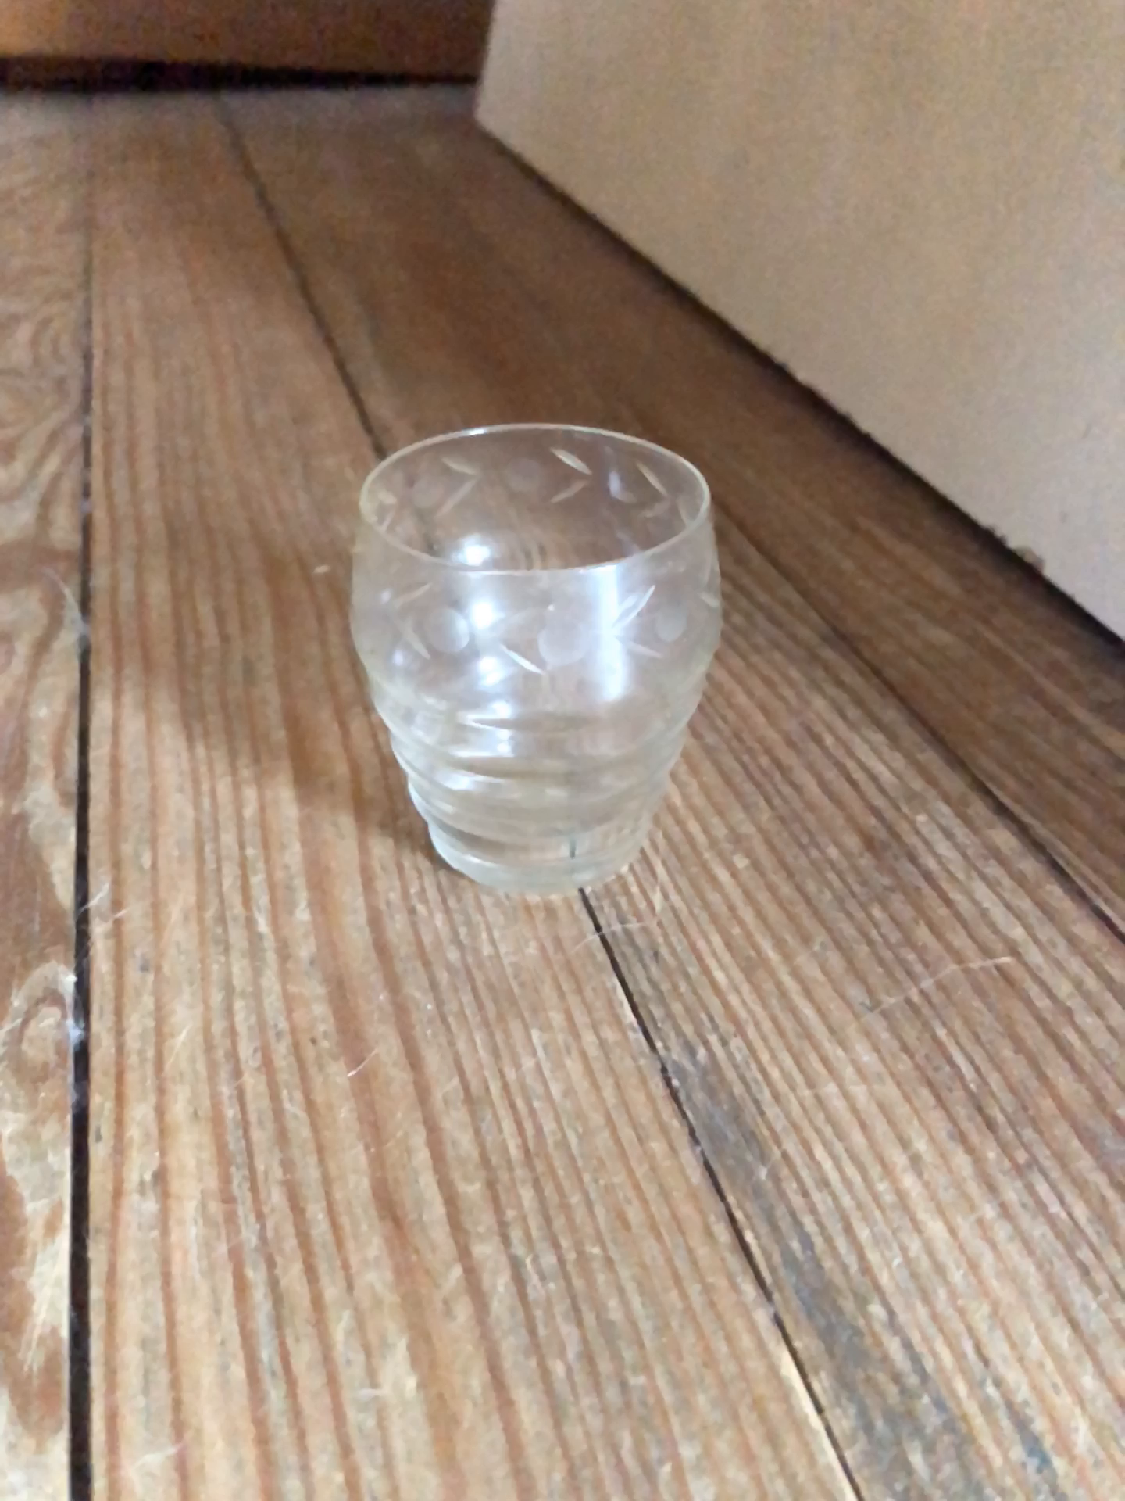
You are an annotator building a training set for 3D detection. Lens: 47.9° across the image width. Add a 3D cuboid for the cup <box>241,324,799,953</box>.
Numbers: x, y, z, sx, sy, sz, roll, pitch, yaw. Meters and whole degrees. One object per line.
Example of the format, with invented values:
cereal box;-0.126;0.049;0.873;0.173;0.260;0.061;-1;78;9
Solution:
cup;-0.004;-0.018;0.177;0.050;0.060;0.050;0;36;0
